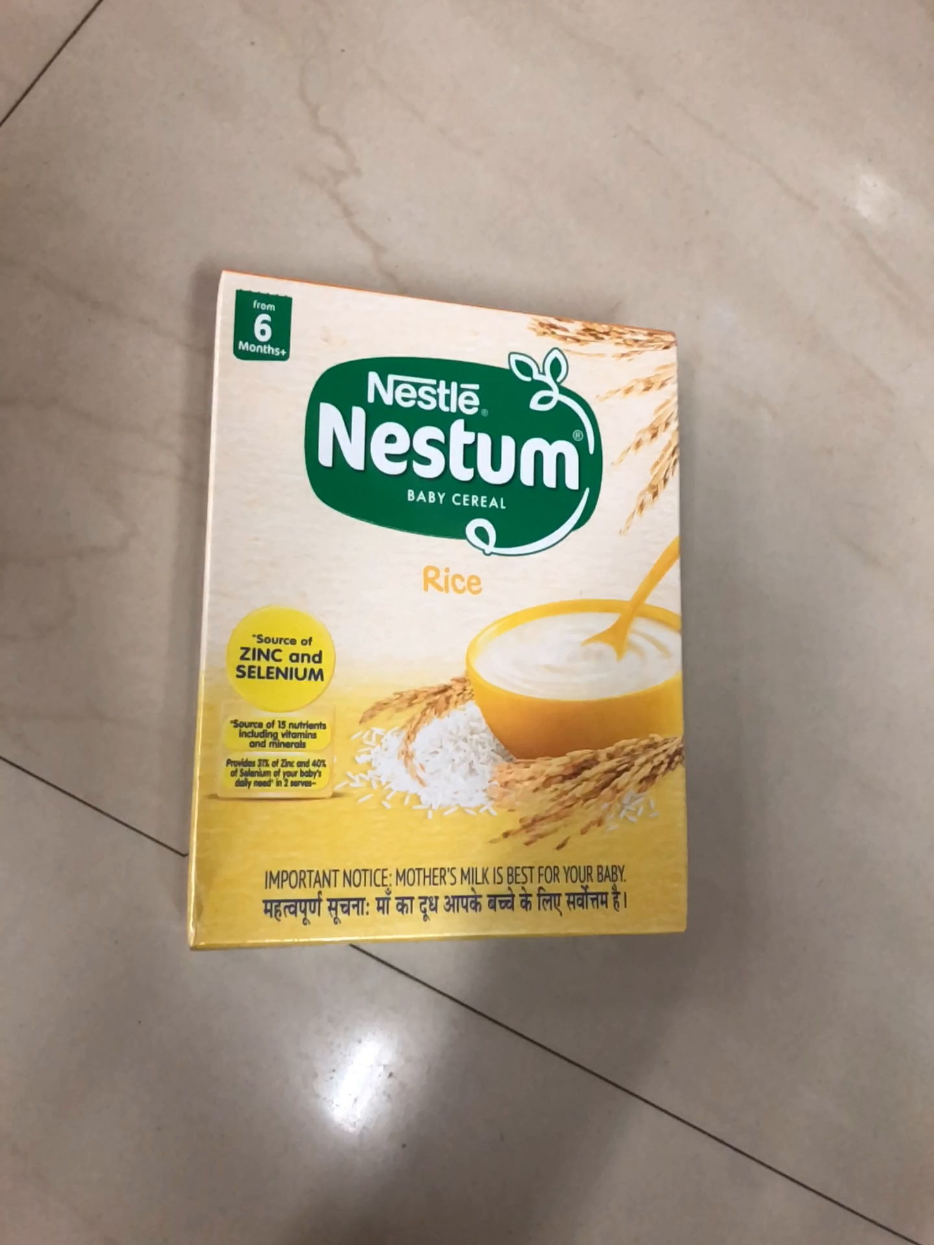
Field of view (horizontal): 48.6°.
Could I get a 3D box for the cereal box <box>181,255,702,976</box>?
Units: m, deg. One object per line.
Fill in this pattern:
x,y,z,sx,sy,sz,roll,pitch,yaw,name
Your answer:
-0.008,0.001,0.332,0.150,0.060,0.200,3,82,-15,cereal box
